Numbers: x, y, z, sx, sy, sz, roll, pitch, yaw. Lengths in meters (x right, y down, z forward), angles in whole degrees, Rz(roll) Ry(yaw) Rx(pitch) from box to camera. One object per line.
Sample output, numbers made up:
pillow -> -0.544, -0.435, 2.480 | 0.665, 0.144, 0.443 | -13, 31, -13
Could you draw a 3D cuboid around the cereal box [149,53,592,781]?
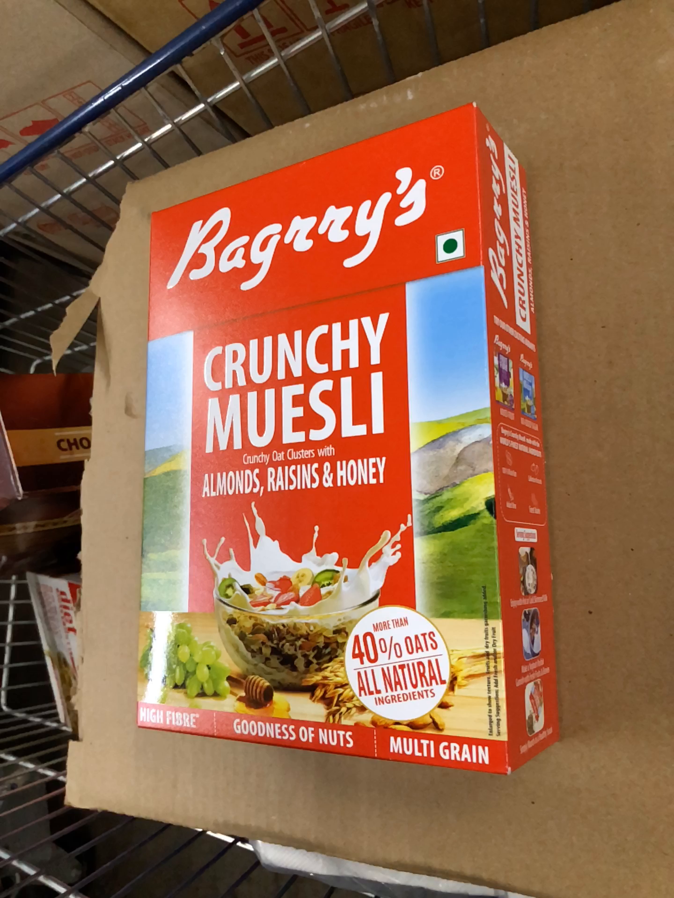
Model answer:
cereal box -> 0.006, -0.008, 0.339 | 0.181, 0.070, 0.260 | -6, 81, 31
